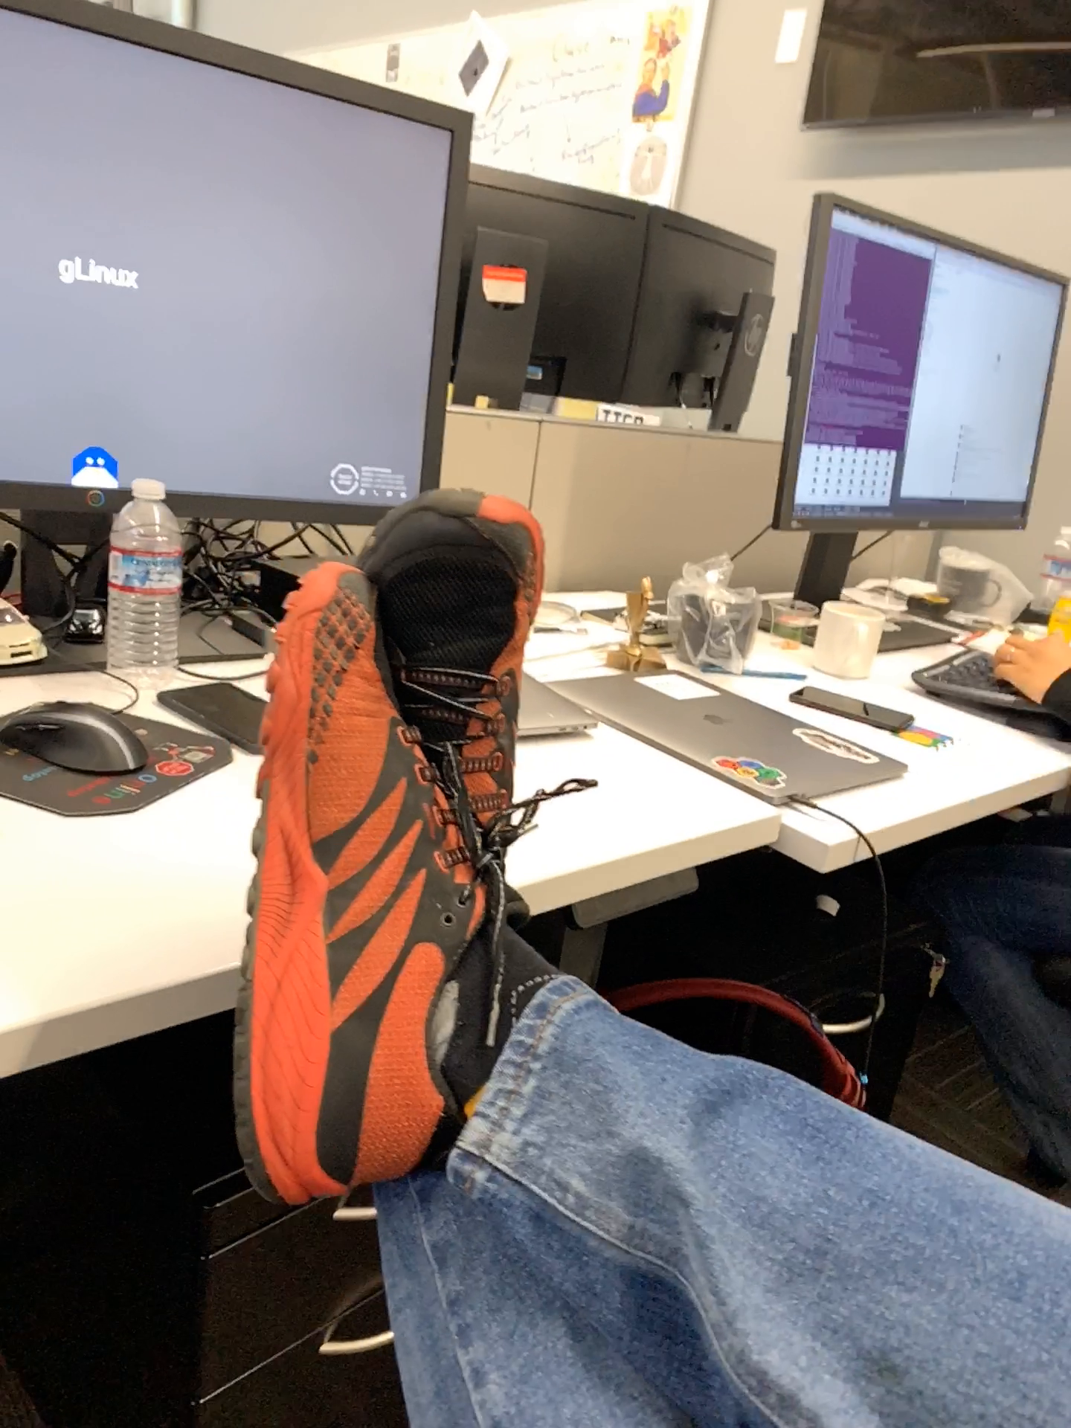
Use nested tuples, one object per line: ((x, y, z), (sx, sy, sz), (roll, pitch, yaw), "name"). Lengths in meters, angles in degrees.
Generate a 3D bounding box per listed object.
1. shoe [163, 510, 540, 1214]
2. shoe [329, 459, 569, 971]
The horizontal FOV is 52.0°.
((-0.076, 0.064, 0.506), (0.132, 0.290, 0.091), (5, -17, -8), "shoe")
((-0.057, 0.005, 0.619), (0.107, 0.271, 0.083), (2, 21, -11), "shoe")
